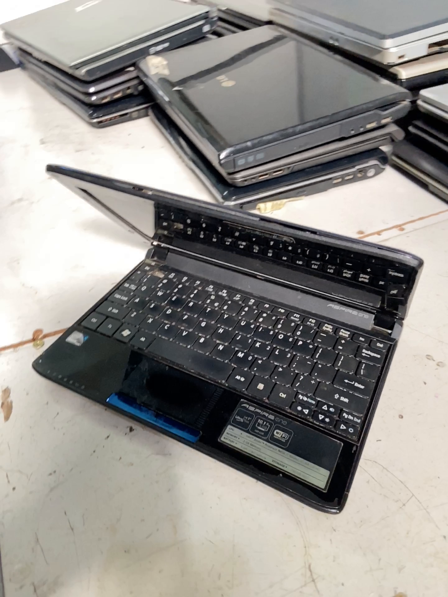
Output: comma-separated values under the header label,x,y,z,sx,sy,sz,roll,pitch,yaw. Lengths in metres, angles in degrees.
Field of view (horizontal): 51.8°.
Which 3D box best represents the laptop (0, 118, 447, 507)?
label,x,y,z,sx,sy,sz,roll,pitch,yaw
laptop,-0.005,-0.014,0.324,0.244,0.131,0.172,18,46,22
